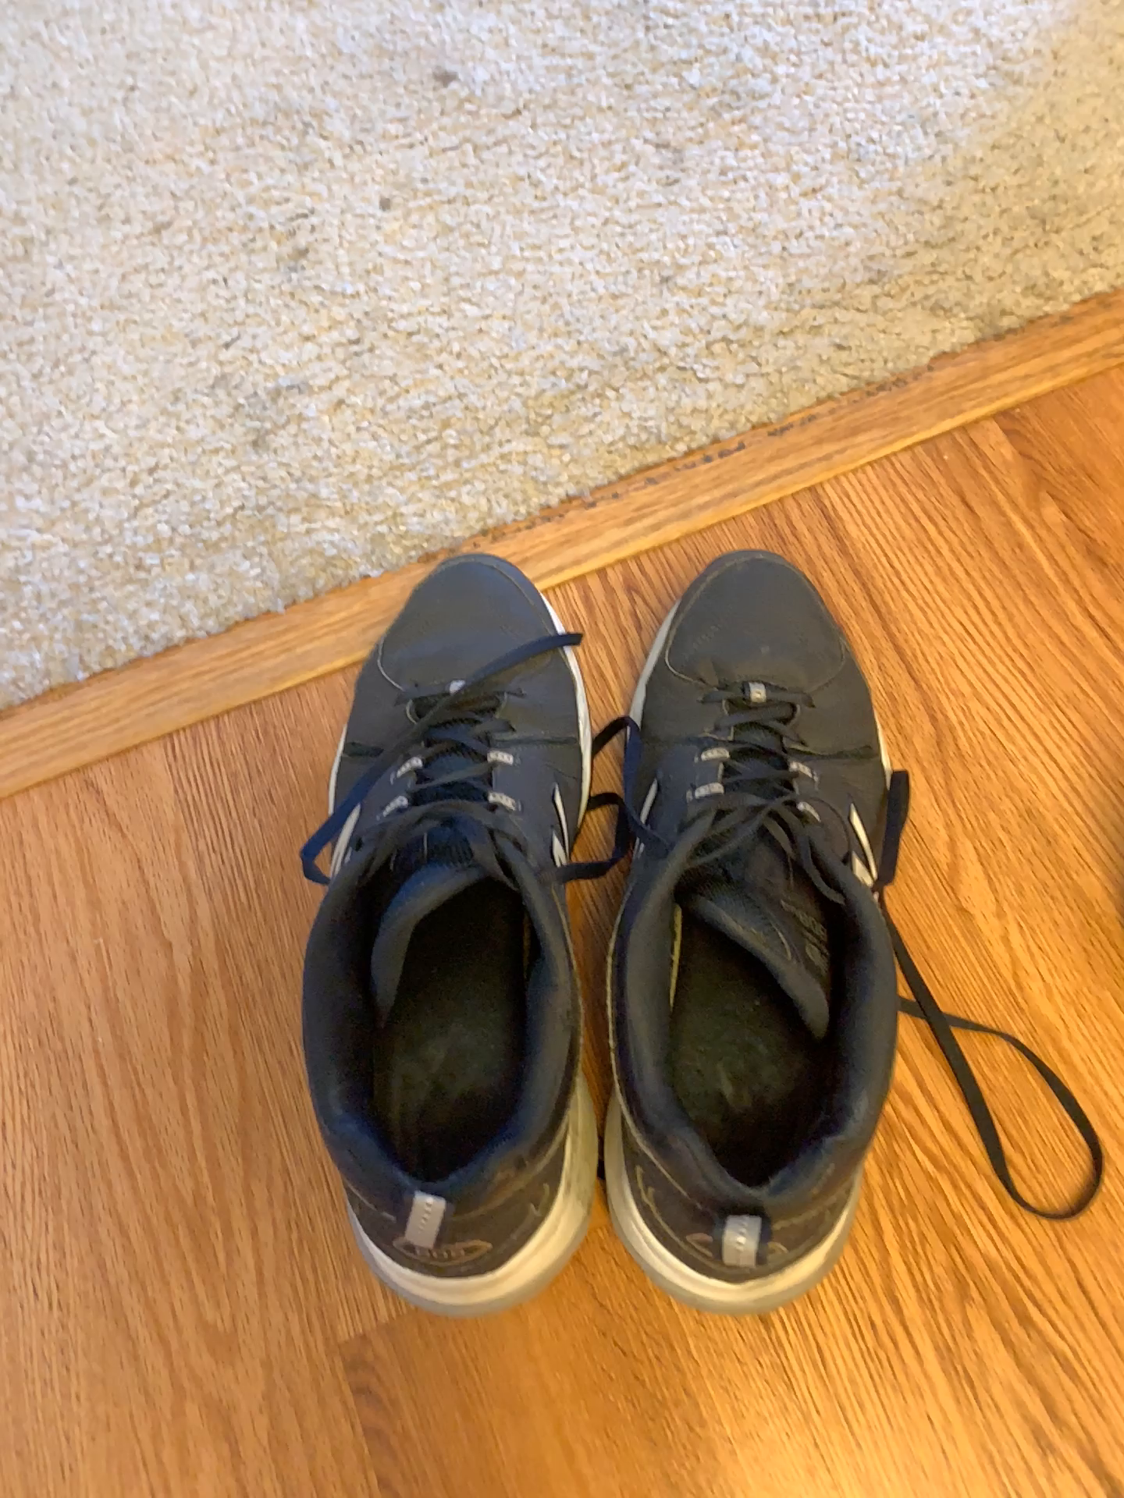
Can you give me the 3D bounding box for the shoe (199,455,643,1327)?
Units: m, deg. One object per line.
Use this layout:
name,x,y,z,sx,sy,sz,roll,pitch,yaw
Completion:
shoe,-0.045,0.050,0.455,0.130,0.120,0.311,-3,65,2

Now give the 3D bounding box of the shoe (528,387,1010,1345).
shoe,0.067,0.035,0.411,0.120,0.130,0.301,4,65,5

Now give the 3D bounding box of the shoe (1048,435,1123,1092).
shoe,0.375,0.018,0.427,0.300,0.170,0.120,-13,65,-3
